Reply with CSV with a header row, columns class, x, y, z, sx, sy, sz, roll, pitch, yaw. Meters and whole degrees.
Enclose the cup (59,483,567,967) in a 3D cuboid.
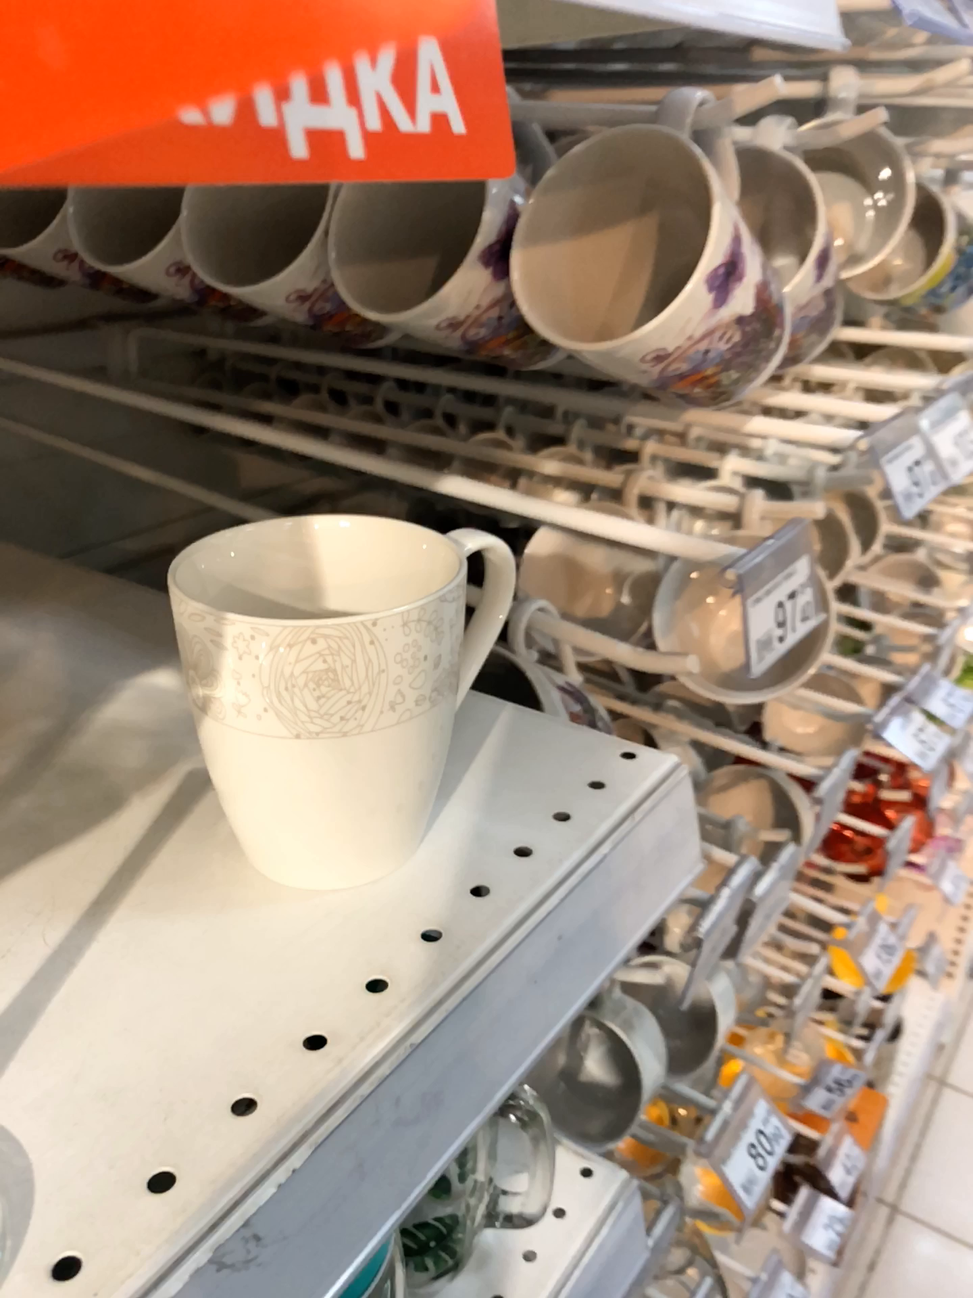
class,x,y,z,sx,sy,sz,roll,pitch,yaw
cup,-0.049,0.013,0.346,0.089,0.091,0.126,19,30,32
